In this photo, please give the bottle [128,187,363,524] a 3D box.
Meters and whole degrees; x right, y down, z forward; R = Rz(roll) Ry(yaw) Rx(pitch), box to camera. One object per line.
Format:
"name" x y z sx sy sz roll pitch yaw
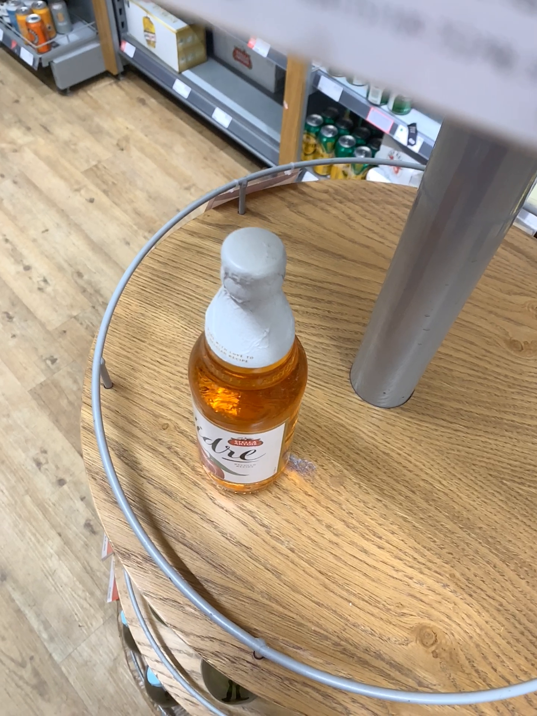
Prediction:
"bottle" -0.015 0.019 0.323 0.070 0.218 0.069 2 59 -2
